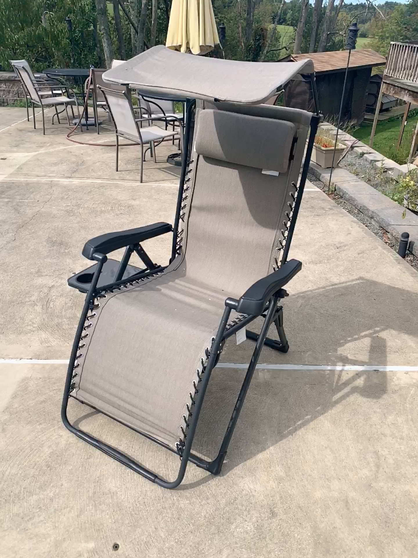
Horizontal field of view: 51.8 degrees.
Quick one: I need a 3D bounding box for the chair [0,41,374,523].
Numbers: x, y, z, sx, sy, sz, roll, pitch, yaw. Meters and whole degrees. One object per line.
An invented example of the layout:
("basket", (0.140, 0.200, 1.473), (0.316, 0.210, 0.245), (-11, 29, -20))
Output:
("chair", (-0.205, -0.149, 1.479), (1.065, 1.137, 0.910), (18, 34, 26))
